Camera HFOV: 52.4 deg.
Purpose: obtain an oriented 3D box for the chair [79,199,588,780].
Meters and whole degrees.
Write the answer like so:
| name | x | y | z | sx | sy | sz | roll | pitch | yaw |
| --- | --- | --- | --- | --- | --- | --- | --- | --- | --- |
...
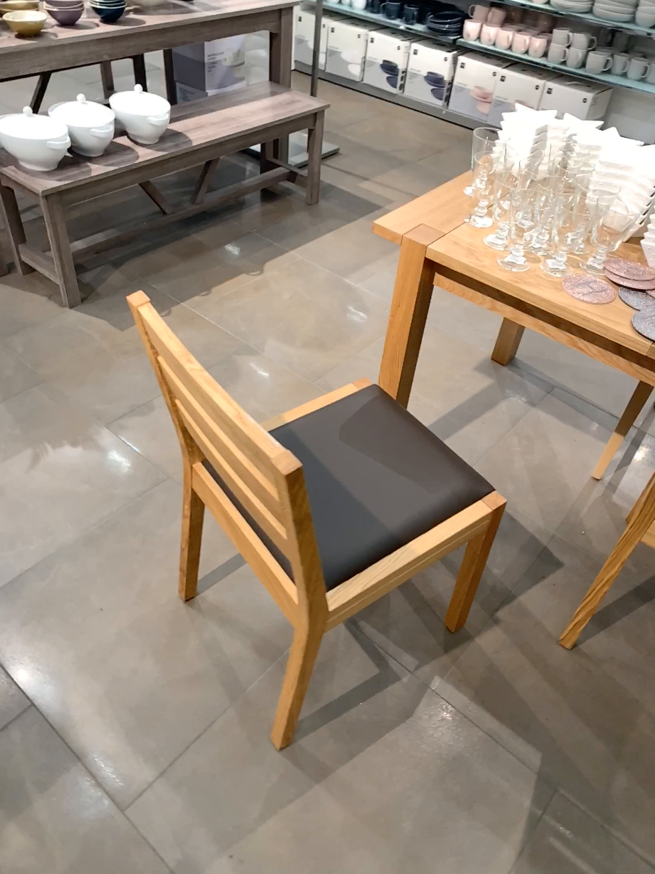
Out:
| name | x | y | z | sx | sy | sz | roll | pitch | yaw |
| --- | --- | --- | --- | --- | --- | --- | --- | --- | --- |
| chair | -0.031 | 0.093 | 1.301 | 0.565 | 0.815 | 0.566 | -24 | 50 | -28 |
